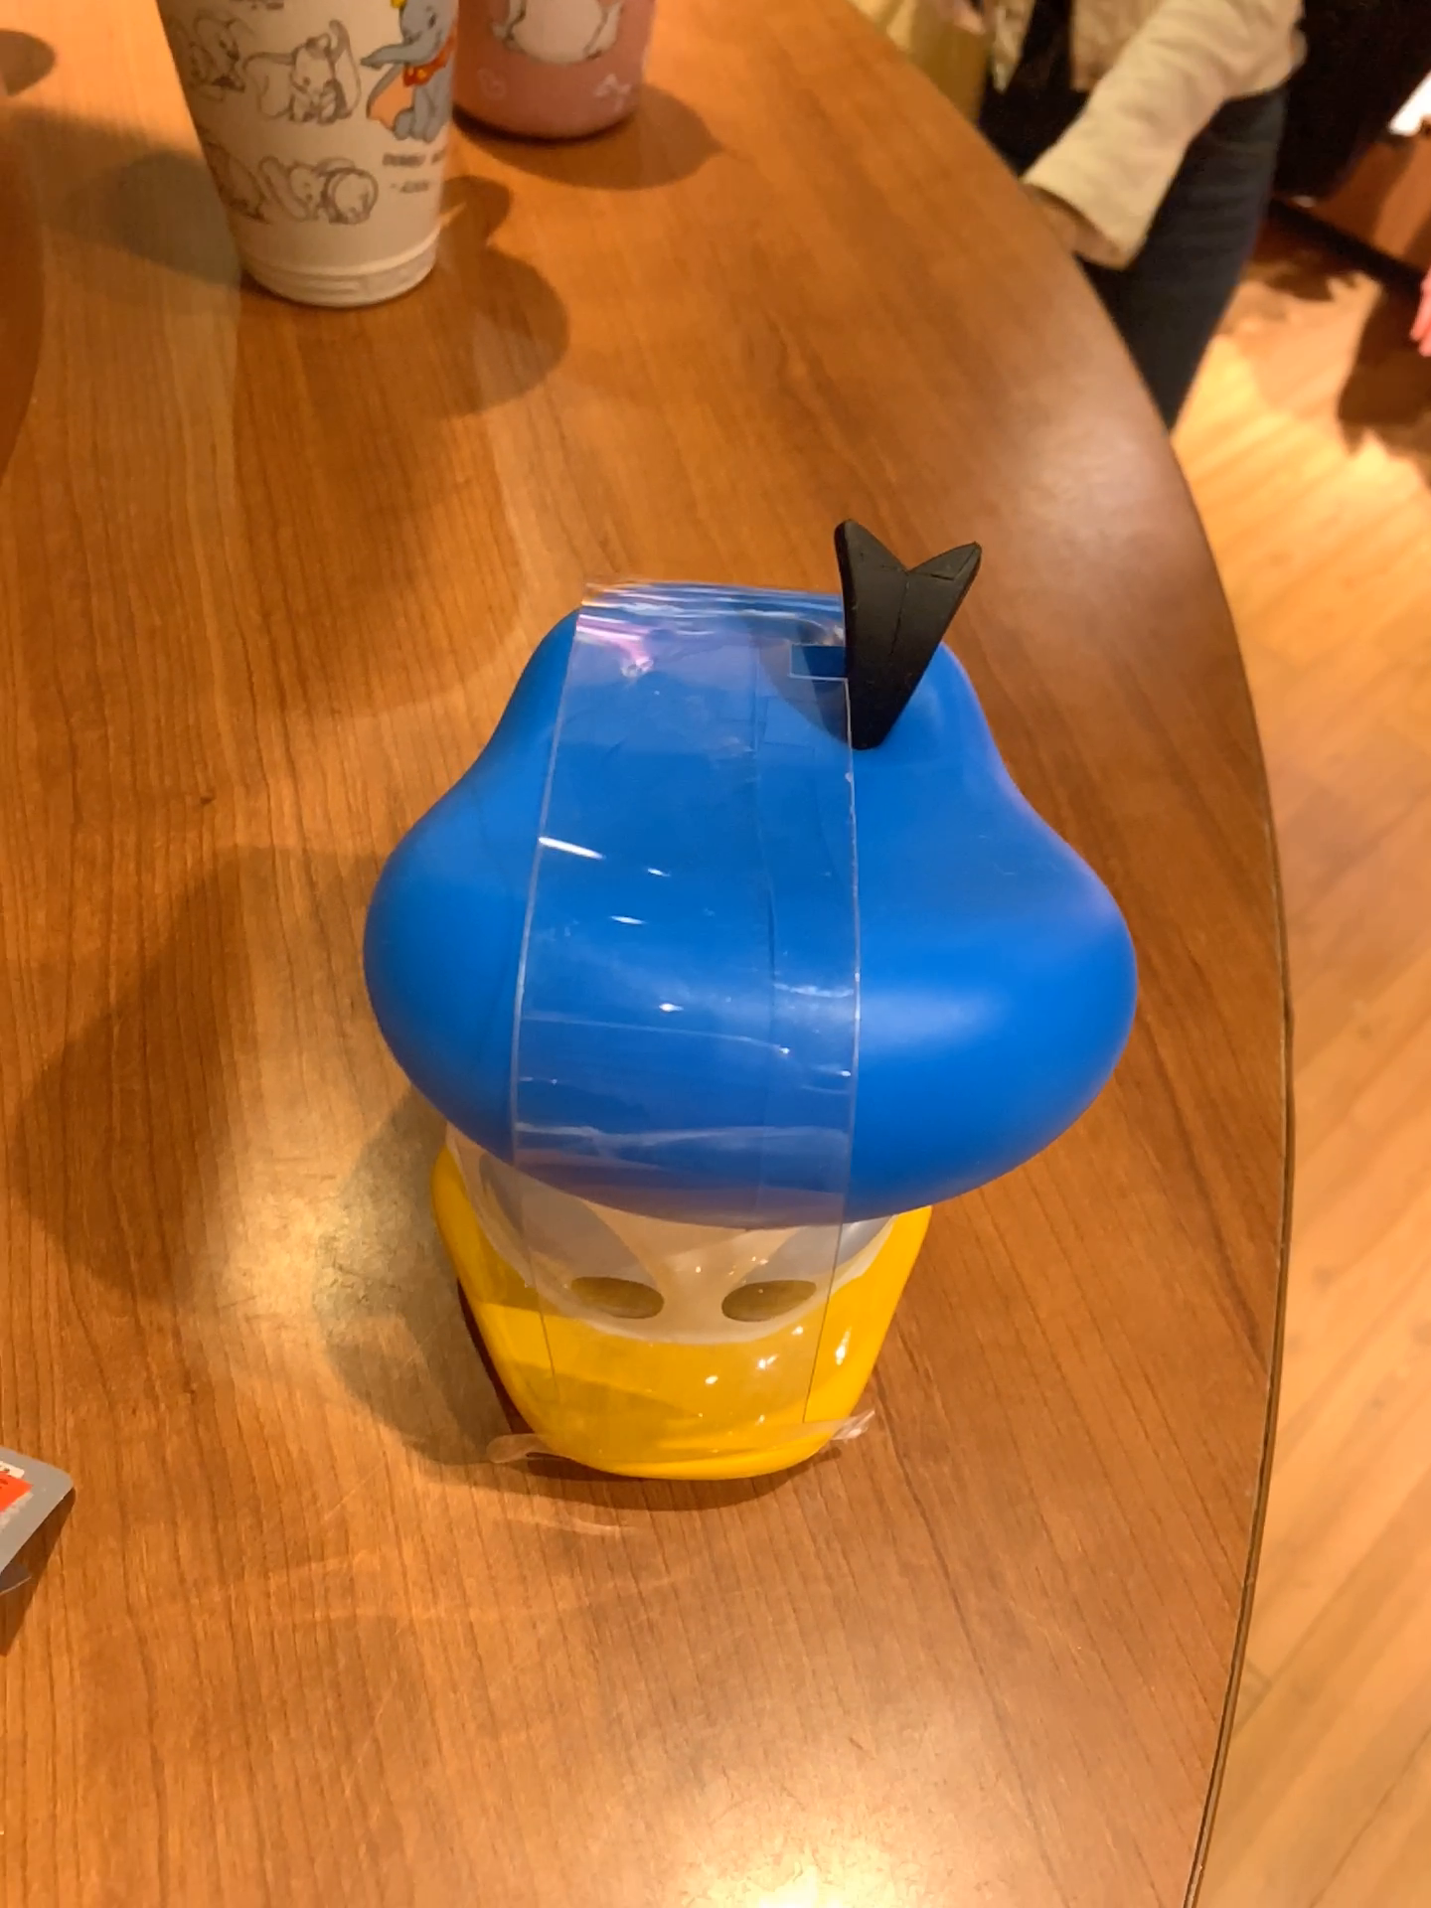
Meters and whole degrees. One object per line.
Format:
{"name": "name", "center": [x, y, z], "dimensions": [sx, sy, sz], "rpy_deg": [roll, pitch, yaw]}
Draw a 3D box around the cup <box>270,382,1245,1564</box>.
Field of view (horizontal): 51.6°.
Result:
{"name": "cup", "center": [0.001, 0.011, 0.254], "dimensions": [0.105, 0.132, 0.150], "rpy_deg": [4, 58, -4]}
